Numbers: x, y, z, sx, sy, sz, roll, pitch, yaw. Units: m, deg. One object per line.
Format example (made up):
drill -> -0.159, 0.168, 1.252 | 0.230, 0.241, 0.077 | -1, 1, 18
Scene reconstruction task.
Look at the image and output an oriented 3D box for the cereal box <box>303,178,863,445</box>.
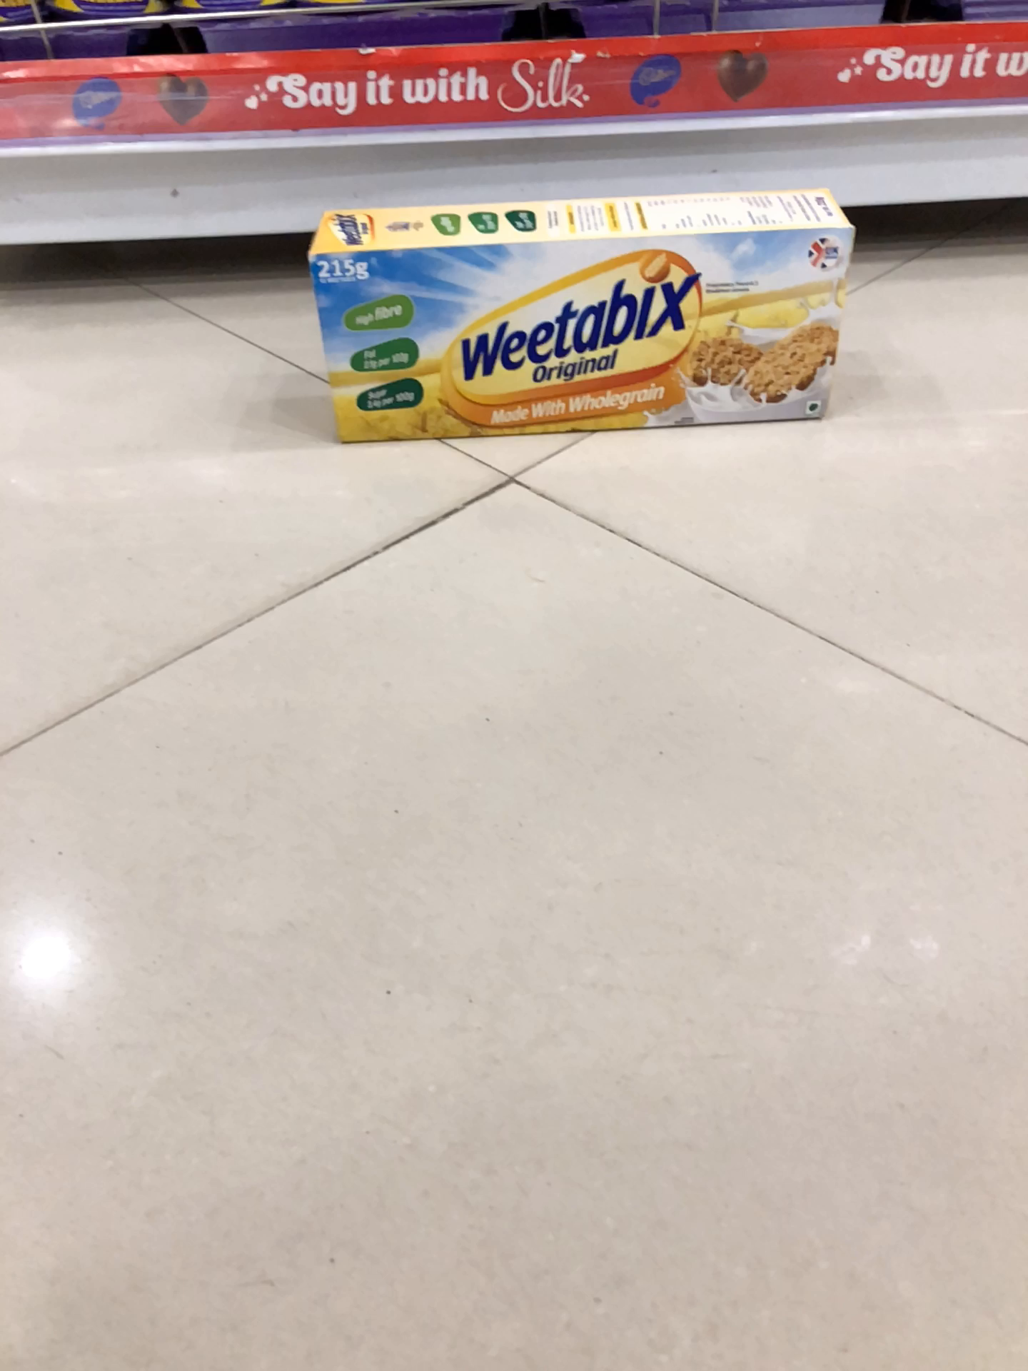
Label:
cereal box -> 0.032, -0.184, 0.562 | 0.250, 0.099, 0.060 | -3, 41, 0
